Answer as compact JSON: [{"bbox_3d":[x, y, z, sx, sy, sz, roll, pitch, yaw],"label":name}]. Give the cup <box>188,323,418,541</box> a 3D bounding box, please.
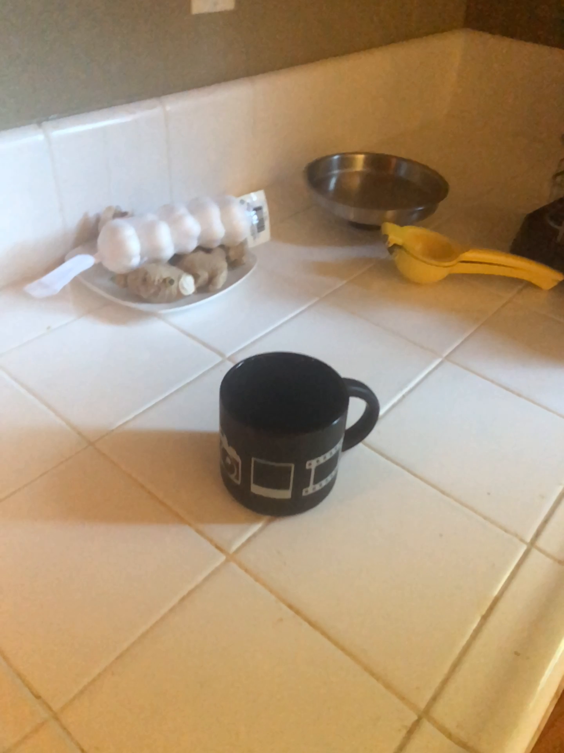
[{"bbox_3d":[0.010,0.035,0.450,0.130,0.089,0.091,-14,44,-22],"label":"cup"}]
